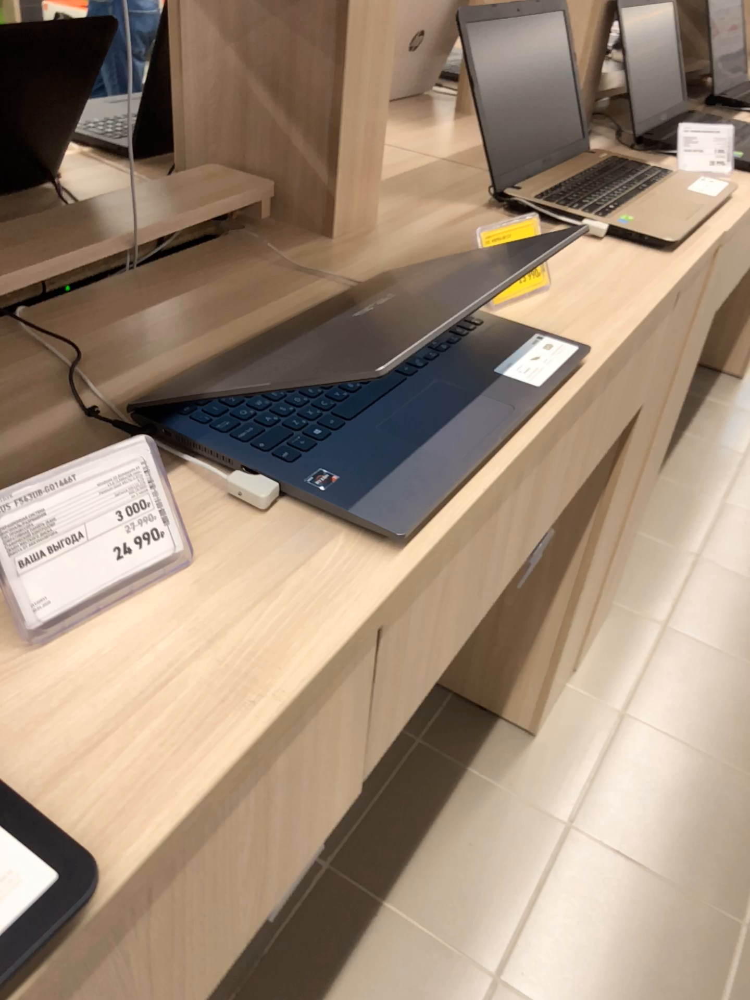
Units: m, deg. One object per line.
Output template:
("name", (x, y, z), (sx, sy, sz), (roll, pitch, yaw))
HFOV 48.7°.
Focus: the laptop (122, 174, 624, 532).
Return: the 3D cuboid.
("laptop", (0.017, -0.147, 0.663), (0.232, 0.111, 0.350), (23, 39, 23))
